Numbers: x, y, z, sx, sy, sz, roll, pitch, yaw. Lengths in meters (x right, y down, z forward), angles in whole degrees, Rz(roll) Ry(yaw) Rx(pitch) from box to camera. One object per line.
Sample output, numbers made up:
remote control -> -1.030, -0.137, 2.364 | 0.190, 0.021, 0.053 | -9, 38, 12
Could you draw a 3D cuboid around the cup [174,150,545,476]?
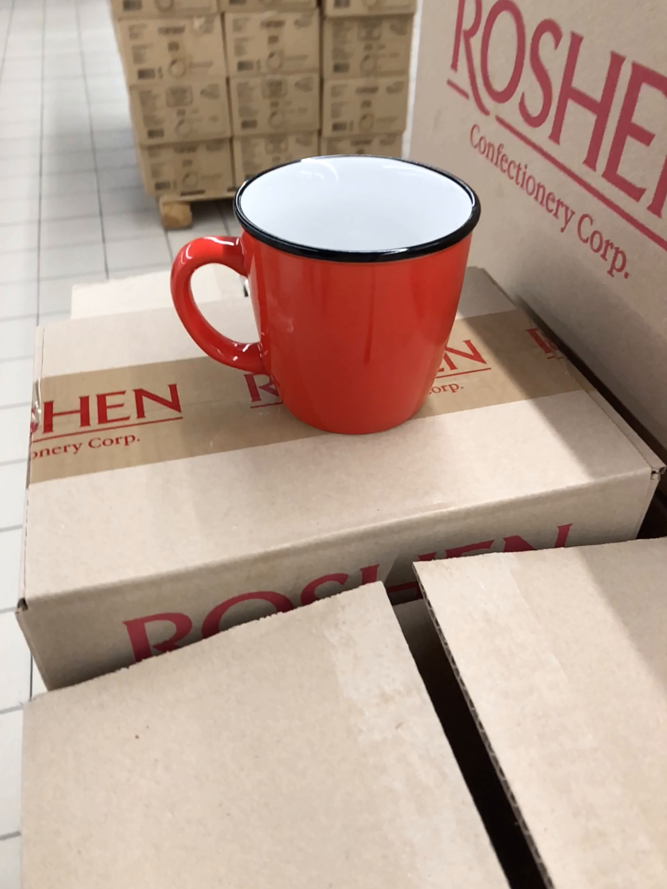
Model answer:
cup -> 0.003, -0.060, 0.314 | 0.127, 0.089, 0.097 | -7, 43, -8
